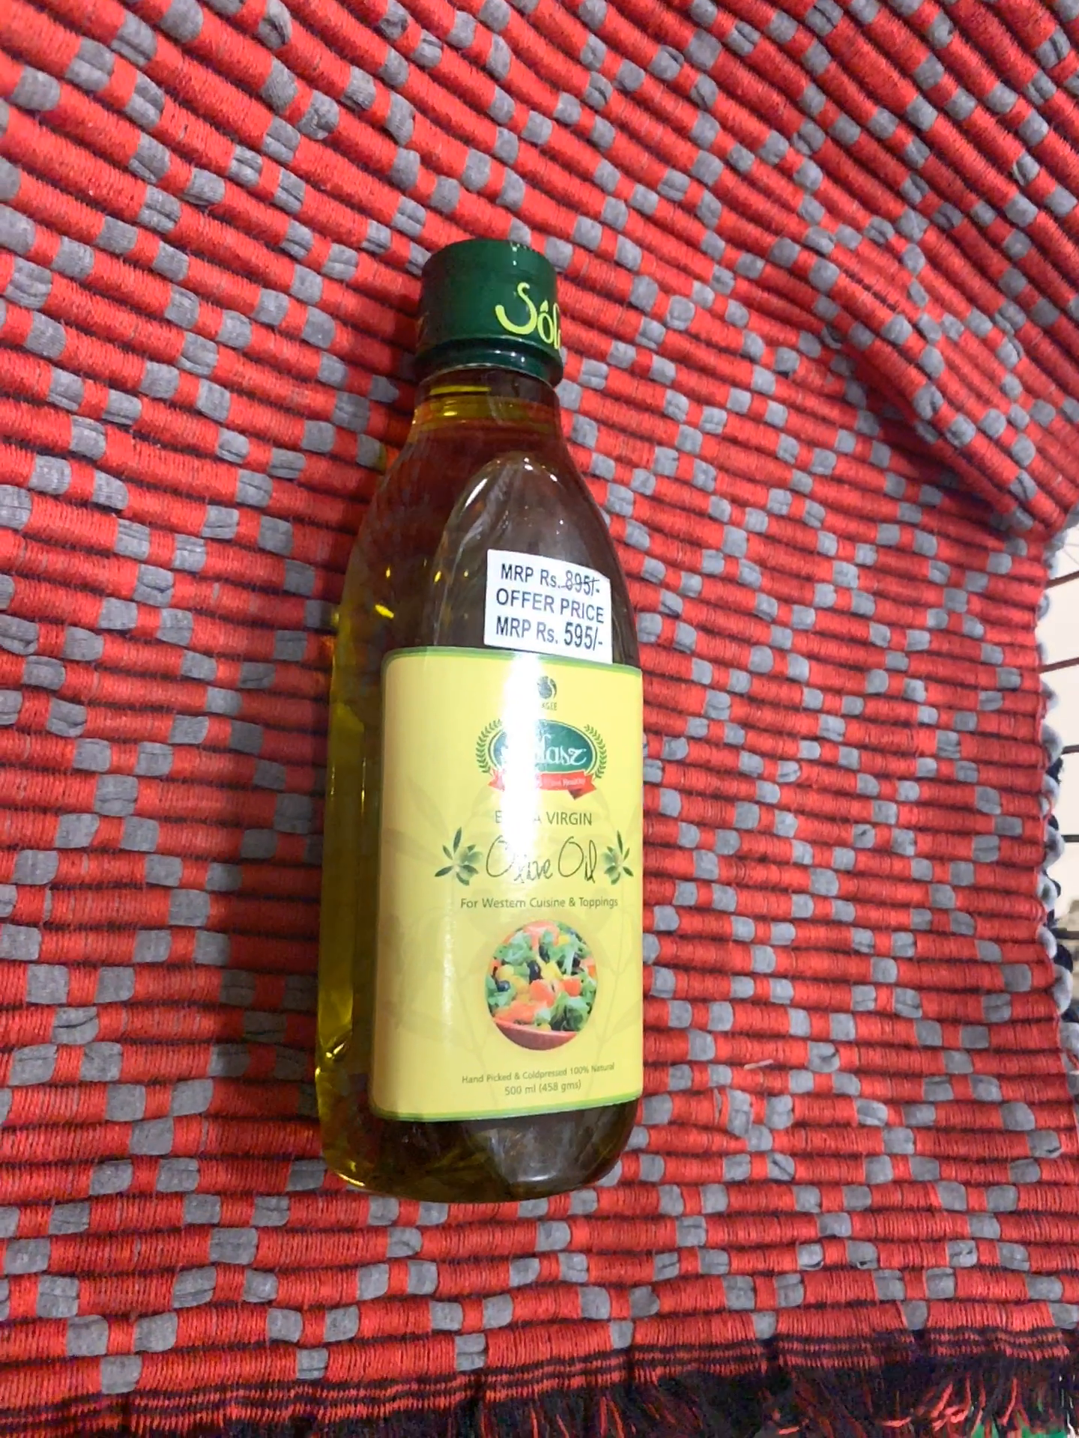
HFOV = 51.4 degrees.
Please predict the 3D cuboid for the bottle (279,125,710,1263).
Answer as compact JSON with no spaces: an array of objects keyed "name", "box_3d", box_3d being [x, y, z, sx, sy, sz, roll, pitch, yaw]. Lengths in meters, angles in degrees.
[{"name":"bottle","box_3d":[-0.013,-0.005,0.237,0.060,0.070,0.200,5,78,-27]}]
